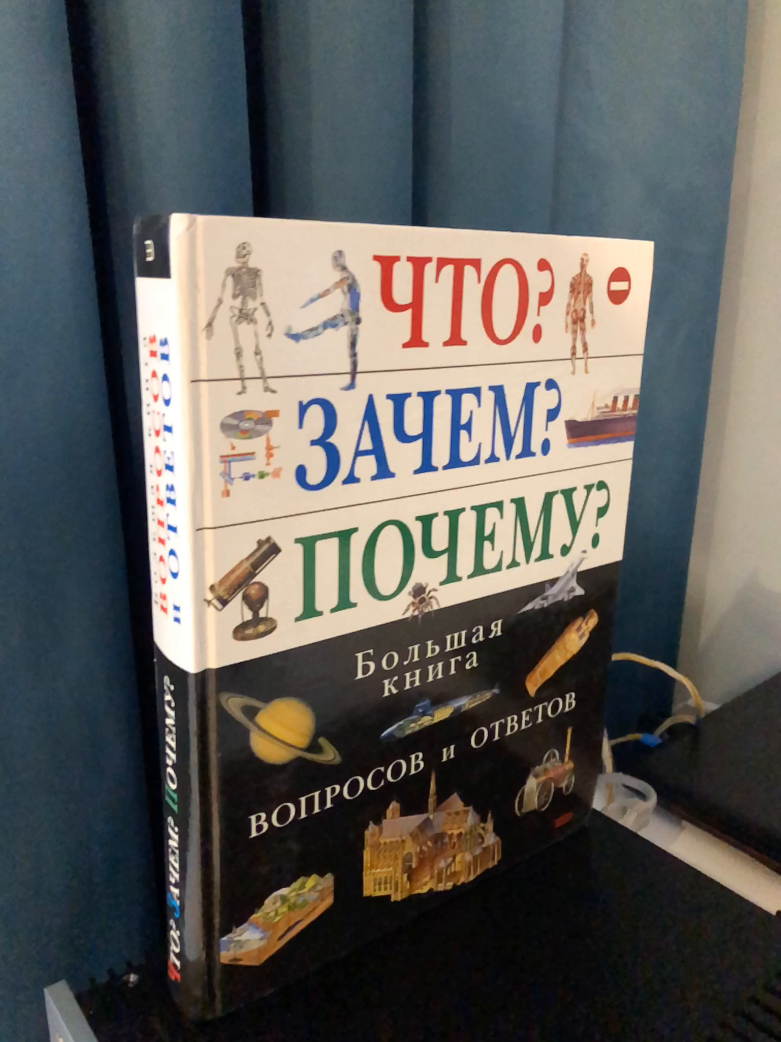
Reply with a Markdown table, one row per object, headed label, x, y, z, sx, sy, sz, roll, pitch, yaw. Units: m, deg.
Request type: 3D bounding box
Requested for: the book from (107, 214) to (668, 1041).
| label | x | y | z | sx | sy | sz | roll | pitch | yaw |
| --- | --- | --- | --- | --- | --- | --- | --- | --- | --- |
| book | 0.010 | 0.039 | 0.357 | 0.225 | 0.301 | 0.042 | -10 | 20 | -36 |
